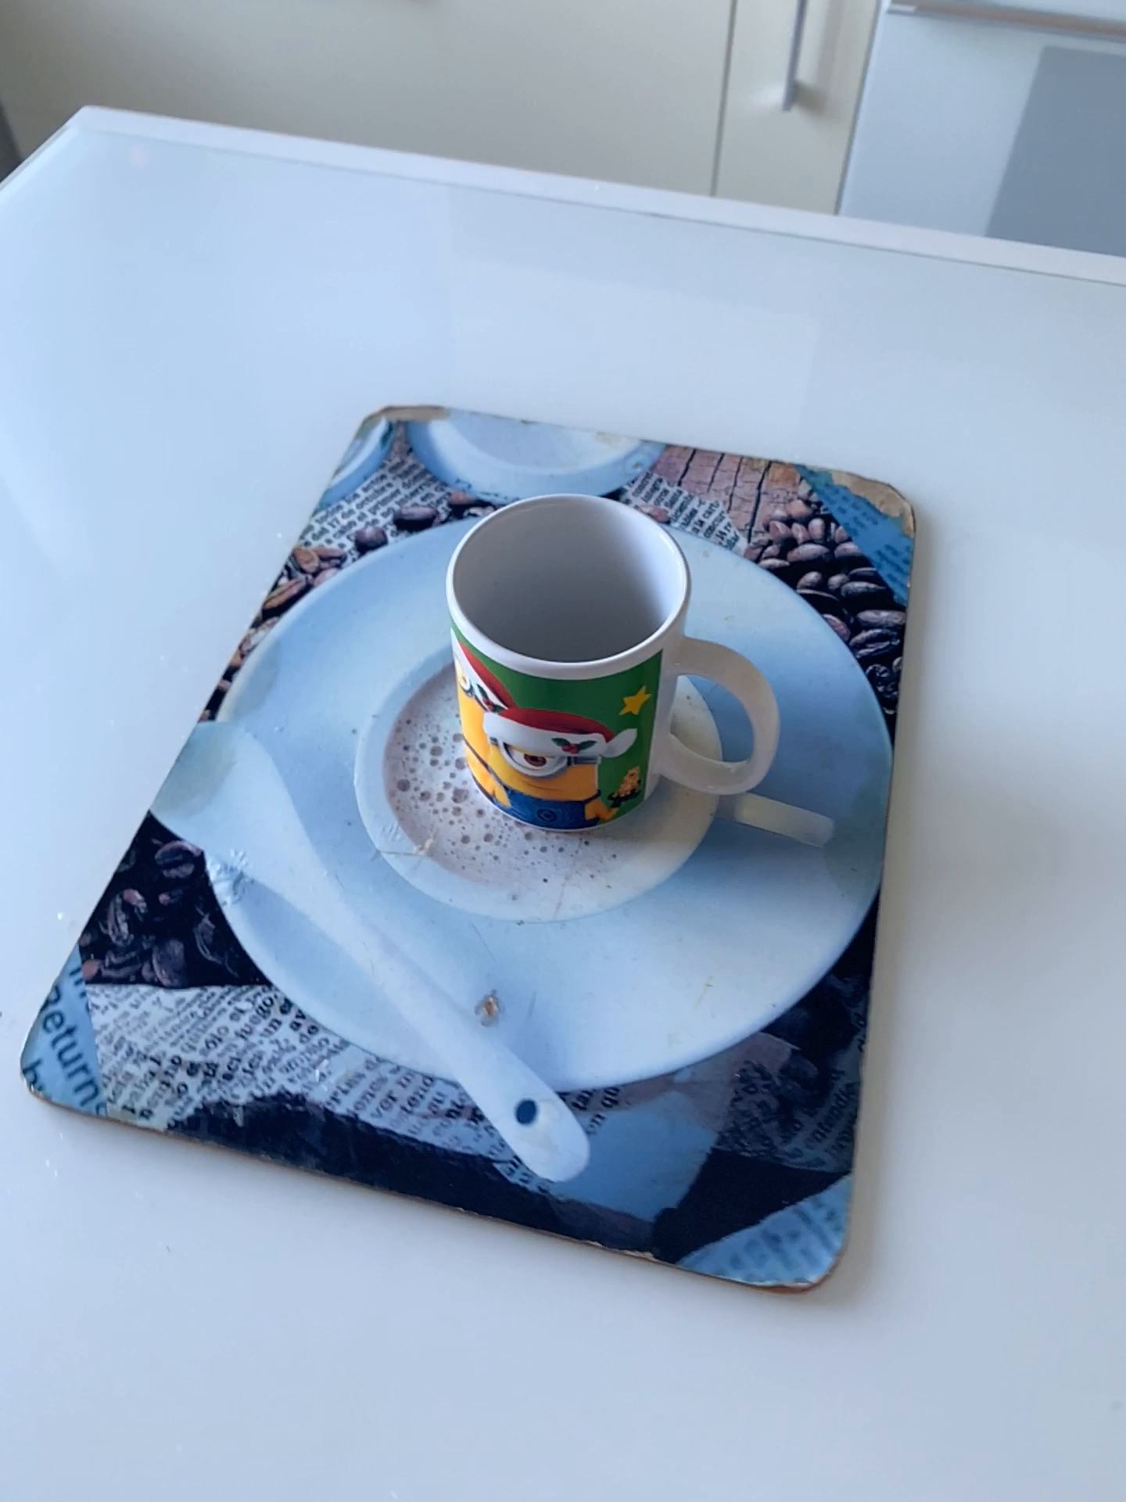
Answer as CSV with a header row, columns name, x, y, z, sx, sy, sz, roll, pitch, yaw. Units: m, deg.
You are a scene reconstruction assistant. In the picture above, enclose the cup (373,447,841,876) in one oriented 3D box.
name,x,y,z,sx,sy,sz,roll,pitch,yaw
cup,0.017,-0.035,0.426,0.134,0.077,0.094,21,56,14
